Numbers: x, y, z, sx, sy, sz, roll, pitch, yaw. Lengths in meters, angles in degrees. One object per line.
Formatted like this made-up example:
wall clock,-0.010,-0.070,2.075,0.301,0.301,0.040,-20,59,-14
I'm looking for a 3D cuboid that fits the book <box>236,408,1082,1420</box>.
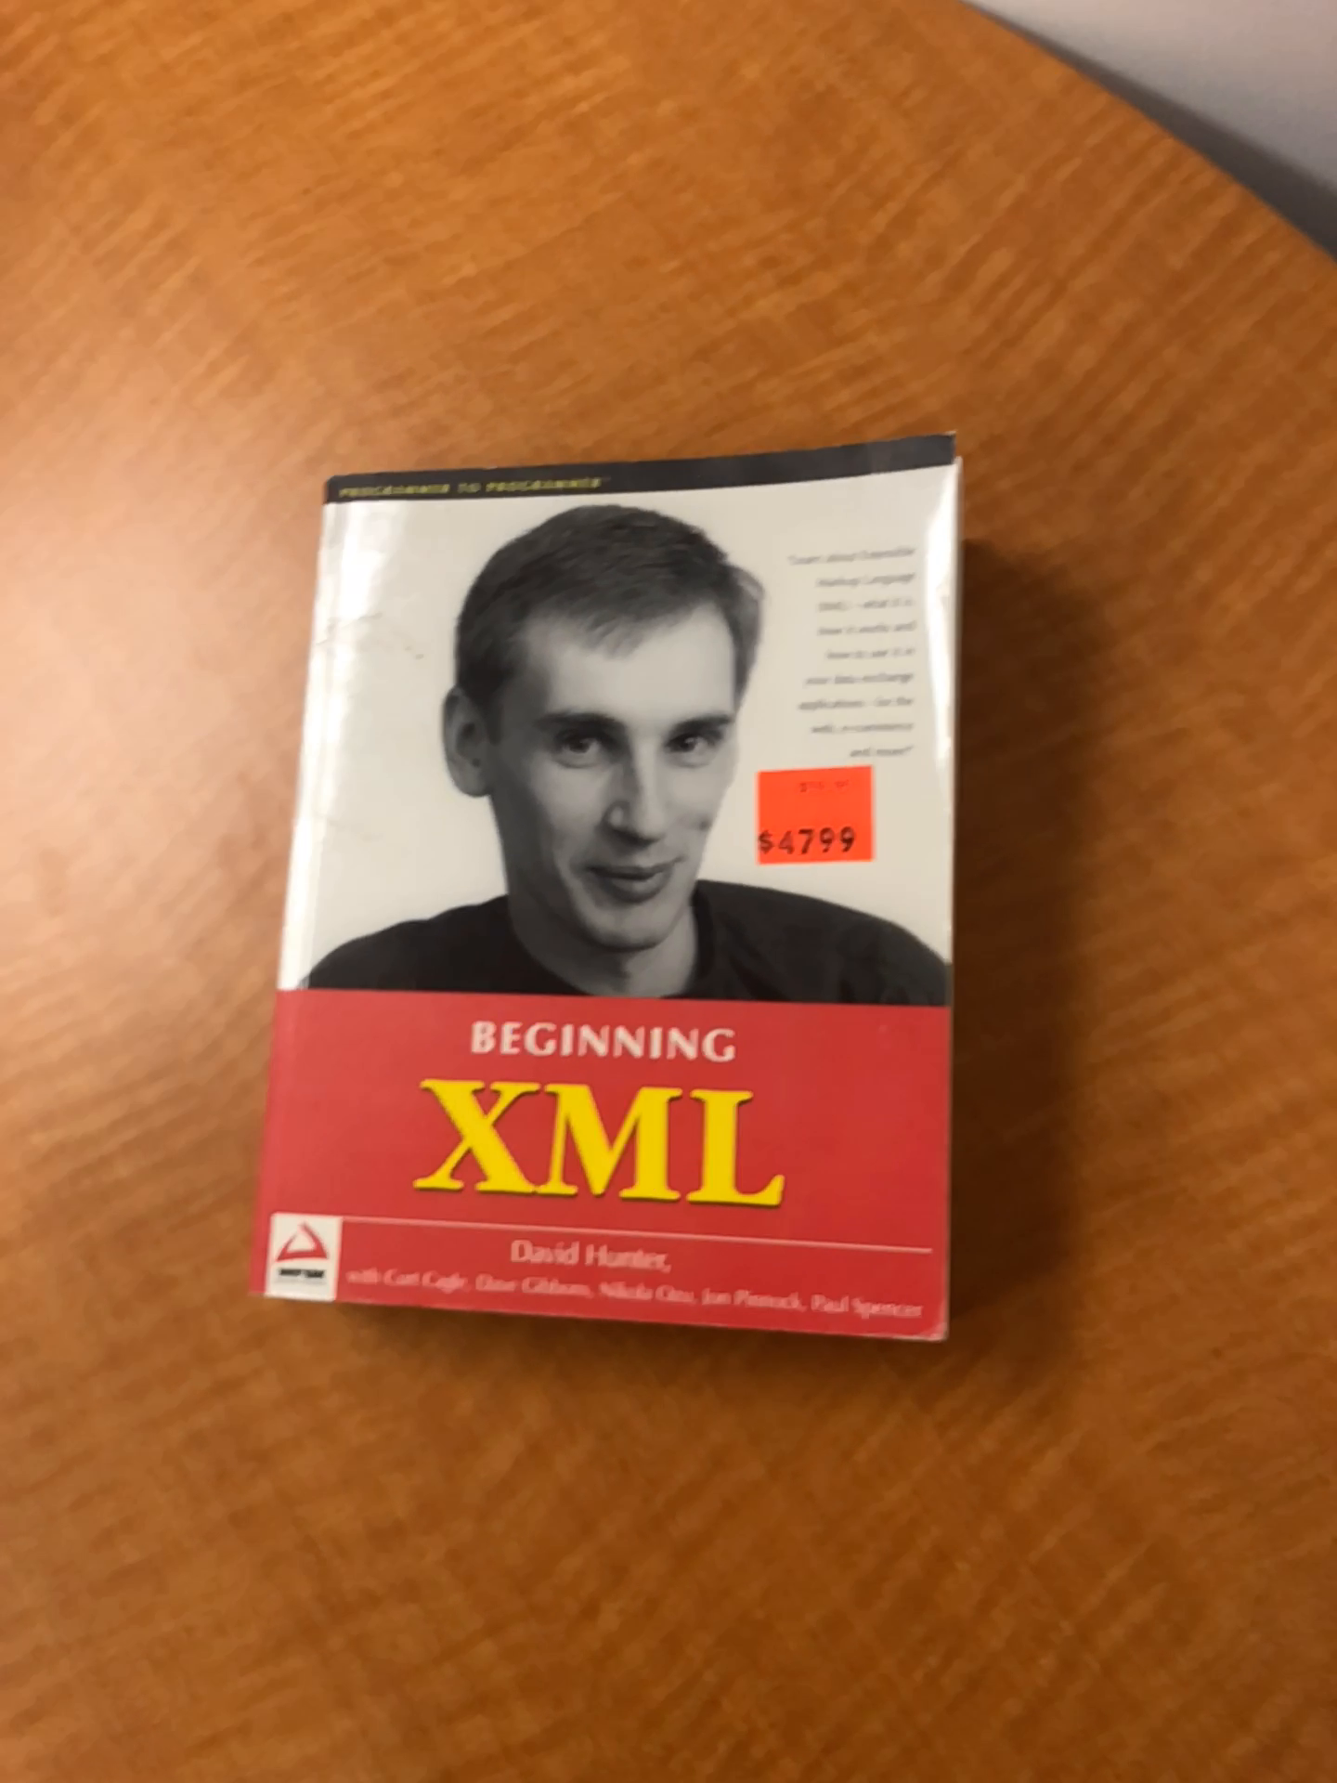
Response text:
book,0.005,0.001,0.444,0.220,0.070,0.270,2,79,10
